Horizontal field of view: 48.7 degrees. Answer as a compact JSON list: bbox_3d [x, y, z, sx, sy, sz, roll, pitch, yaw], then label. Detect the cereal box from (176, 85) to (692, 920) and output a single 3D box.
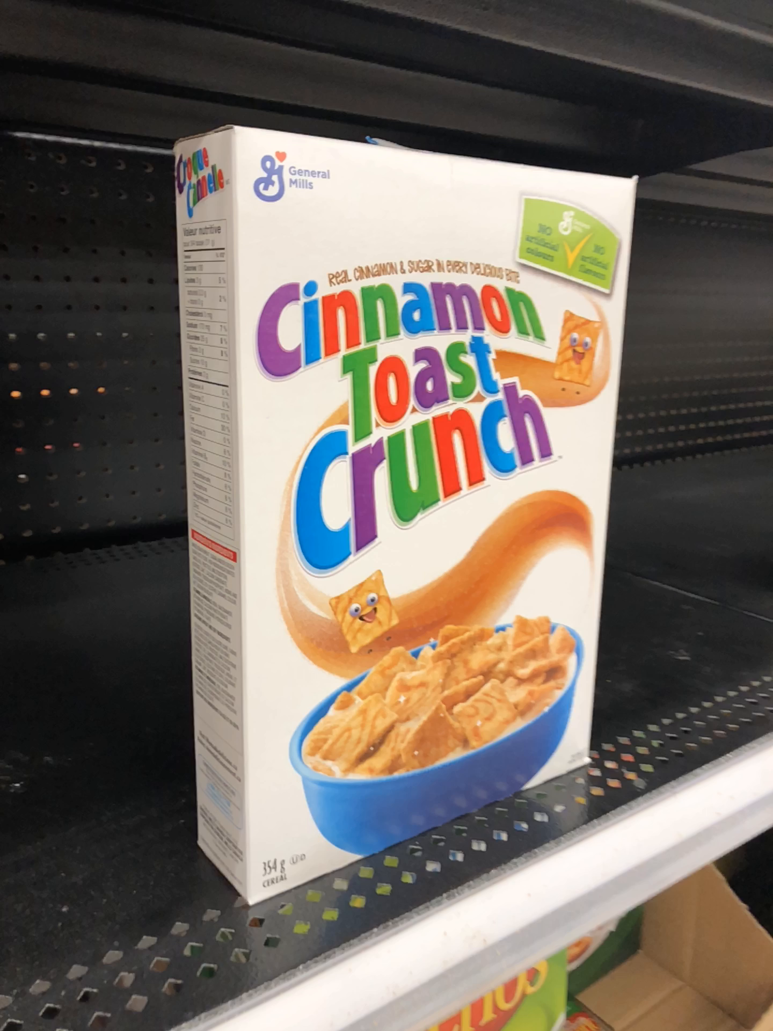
[{"bbox_3d":[0.027,-0.007,0.357,0.210,0.279,0.050,-9,16,-34],"label":"cereal box"}]
